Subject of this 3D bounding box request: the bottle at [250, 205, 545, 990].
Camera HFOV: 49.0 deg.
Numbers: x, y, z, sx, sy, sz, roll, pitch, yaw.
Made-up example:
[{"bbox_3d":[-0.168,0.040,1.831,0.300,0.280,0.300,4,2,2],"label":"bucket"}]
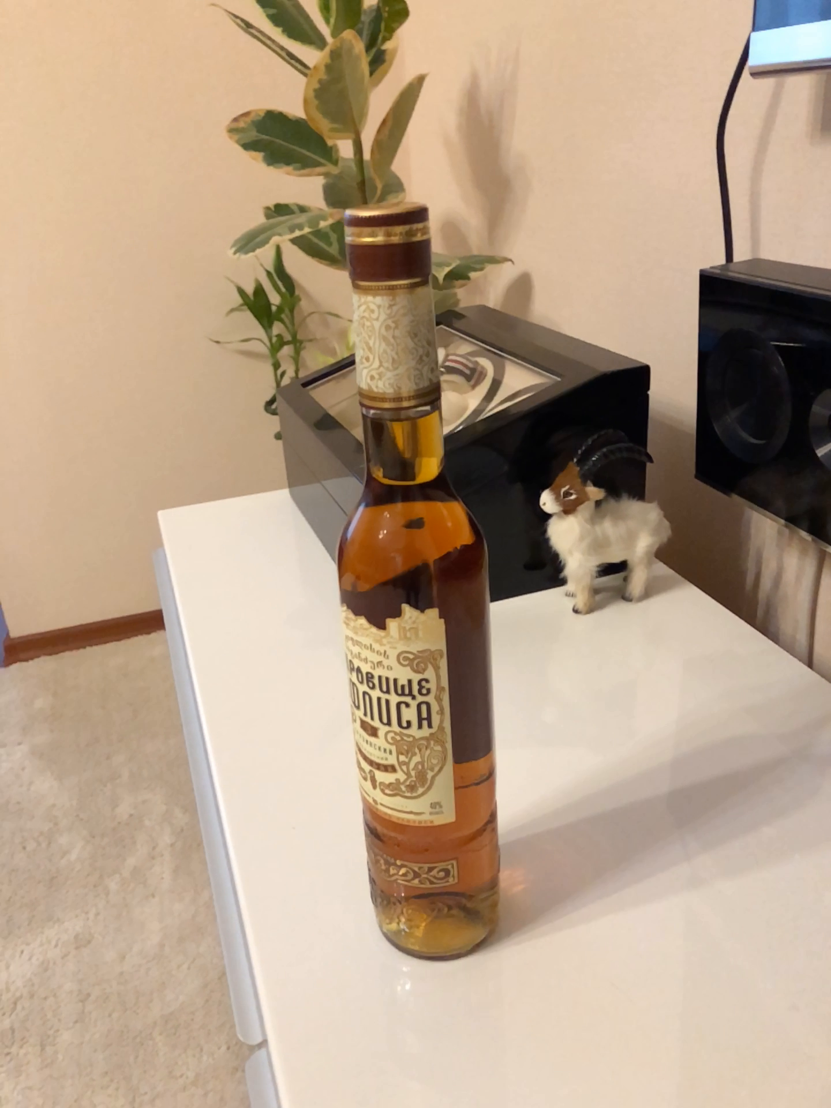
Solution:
[{"bbox_3d":[0.002,0.026,0.372,0.070,0.308,0.070,-3,24,1],"label":"bottle"}]
